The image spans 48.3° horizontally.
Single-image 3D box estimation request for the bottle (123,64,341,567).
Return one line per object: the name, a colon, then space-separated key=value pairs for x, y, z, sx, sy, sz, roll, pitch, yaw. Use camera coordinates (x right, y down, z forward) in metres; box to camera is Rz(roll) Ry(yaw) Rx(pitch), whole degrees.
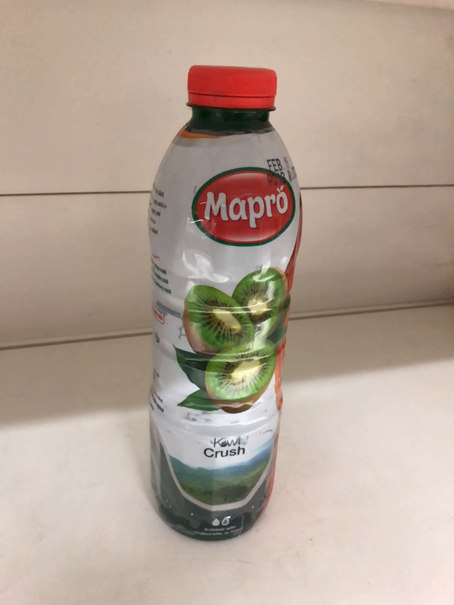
bottle: x=-0.007 y=0.014 z=0.278 sx=0.080 sy=0.259 sz=0.070 roll=-5 pitch=24 yaw=-17
